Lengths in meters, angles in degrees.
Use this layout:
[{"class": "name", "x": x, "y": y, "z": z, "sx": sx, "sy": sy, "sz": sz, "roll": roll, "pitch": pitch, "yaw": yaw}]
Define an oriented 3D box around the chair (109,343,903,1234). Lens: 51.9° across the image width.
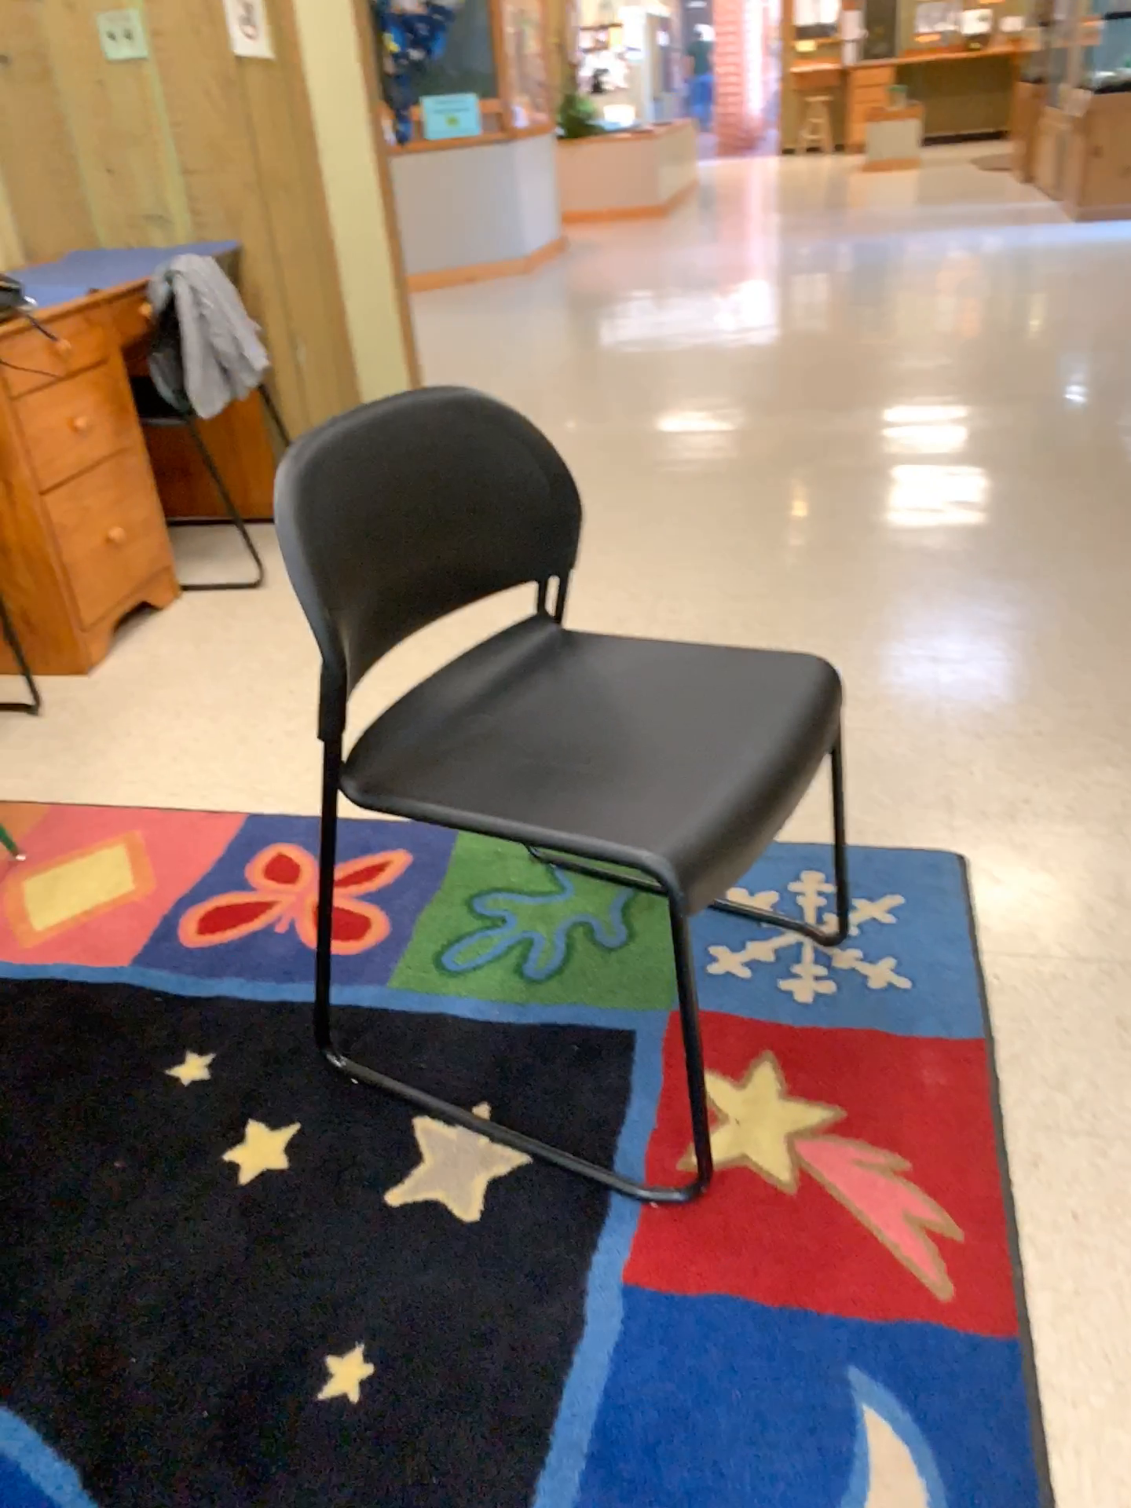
[{"class": "chair", "x": -0.007, "y": -0.025, "z": 1.403, "sx": 0.611, "sy": 0.775, "sz": 0.592, "roll": 12, "pitch": 34, "yaw": 29}]
